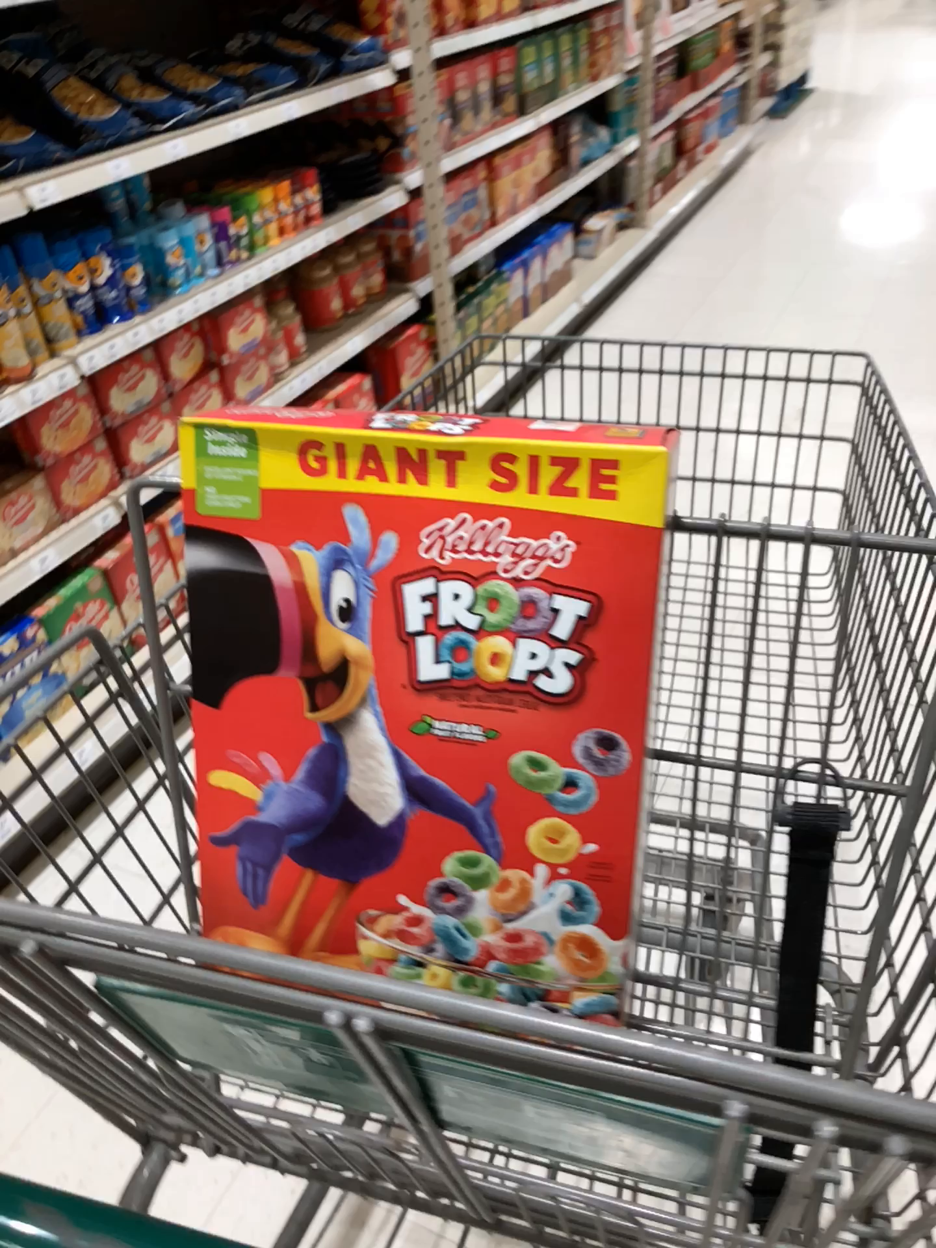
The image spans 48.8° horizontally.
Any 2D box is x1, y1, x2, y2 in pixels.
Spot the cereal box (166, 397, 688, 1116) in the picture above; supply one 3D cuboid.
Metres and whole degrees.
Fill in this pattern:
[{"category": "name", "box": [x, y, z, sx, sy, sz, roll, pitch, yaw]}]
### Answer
[{"category": "cereal box", "box": [-0.027, 0.068, 0.593, 0.260, 0.369, 0.090, 6, 16, 14]}]
